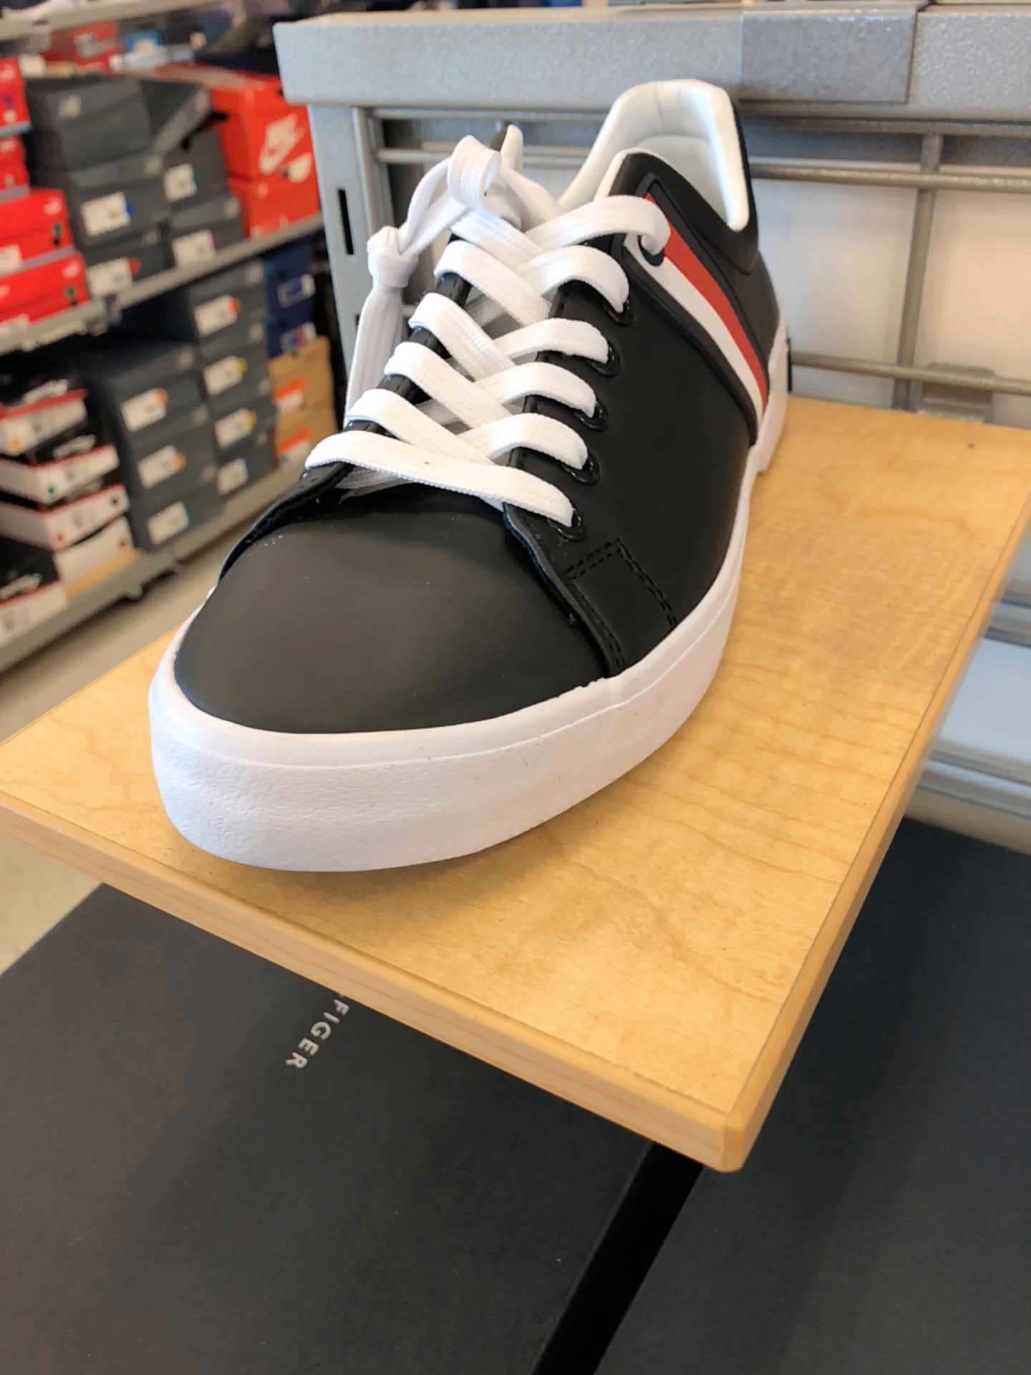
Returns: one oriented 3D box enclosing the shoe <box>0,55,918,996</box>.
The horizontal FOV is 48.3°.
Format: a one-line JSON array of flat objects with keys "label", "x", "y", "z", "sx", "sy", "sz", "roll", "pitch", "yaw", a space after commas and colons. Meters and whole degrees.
[{"label": "shoe", "x": 0.018, "y": -0.079, "z": 0.270, "sx": 0.100, "sy": 0.089, "sz": 0.292, "roll": 11, "pitch": 37, "yaw": 20}]
